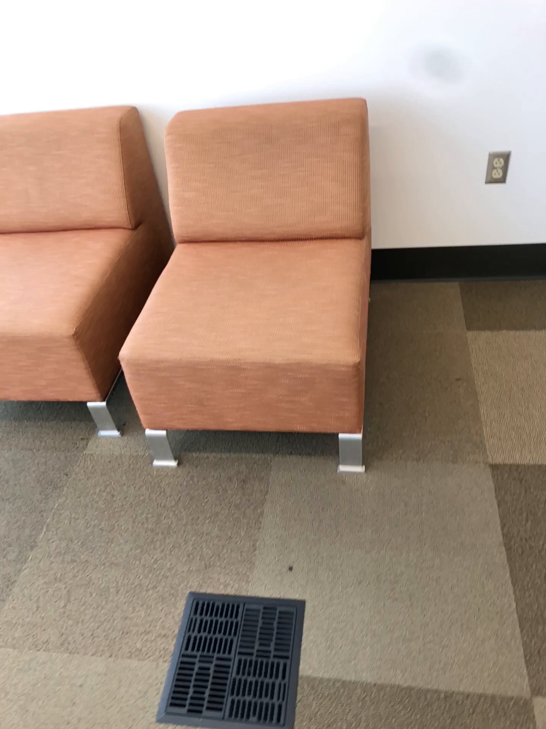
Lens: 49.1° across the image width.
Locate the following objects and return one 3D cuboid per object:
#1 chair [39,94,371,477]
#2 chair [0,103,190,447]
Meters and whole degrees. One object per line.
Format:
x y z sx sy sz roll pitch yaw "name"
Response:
-0.067 -0.275 1.856 0.694 0.759 0.926 0 39 11 "chair"
-0.858 -0.336 2.129 0.764 0.809 0.936 -1 39 10 "chair"
